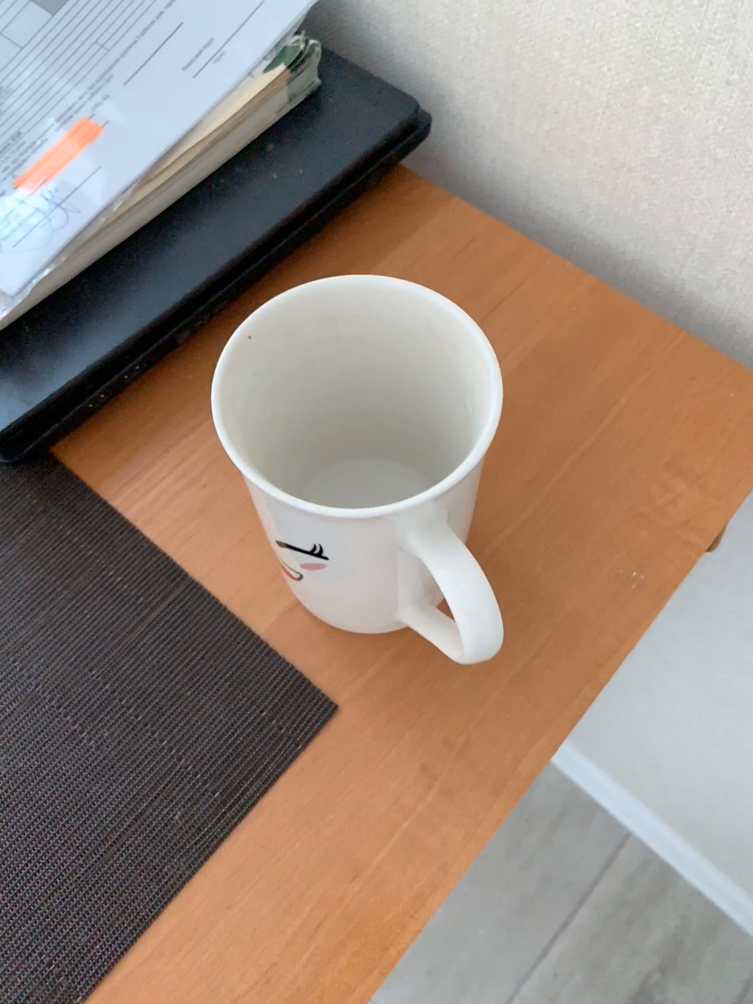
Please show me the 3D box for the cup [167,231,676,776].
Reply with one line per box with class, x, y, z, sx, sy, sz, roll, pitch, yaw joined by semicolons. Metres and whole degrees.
cup;0.007;0.004;0.232;0.080;0.095;0.107;-26;65;-13
